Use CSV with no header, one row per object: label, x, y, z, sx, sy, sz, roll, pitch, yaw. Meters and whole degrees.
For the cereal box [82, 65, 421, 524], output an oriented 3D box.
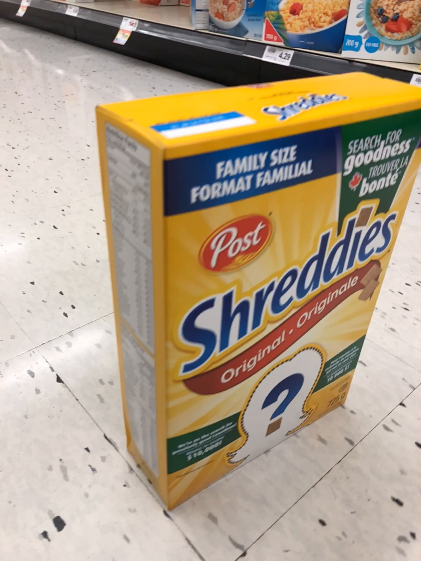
cereal box,0.030,0.021,0.356,0.211,0.318,0.070,-21,44,-30
